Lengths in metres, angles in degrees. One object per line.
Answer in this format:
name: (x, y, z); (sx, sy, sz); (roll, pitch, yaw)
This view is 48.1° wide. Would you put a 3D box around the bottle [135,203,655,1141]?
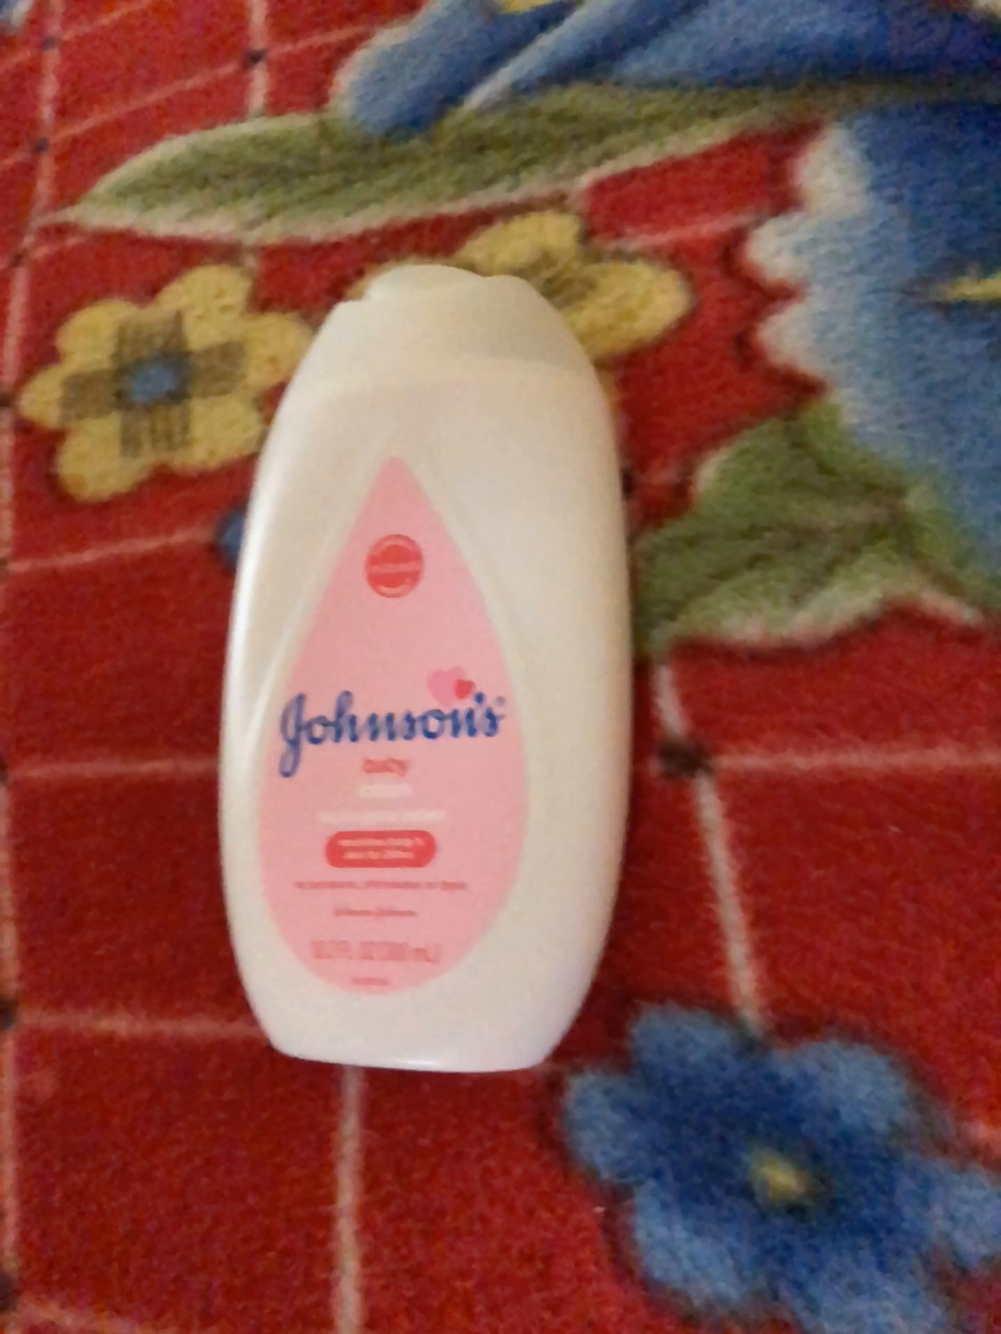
bottle: (-0.015, -0.003, 0.221); (0.080, 0.030, 0.170); (-4, 70, 23)
